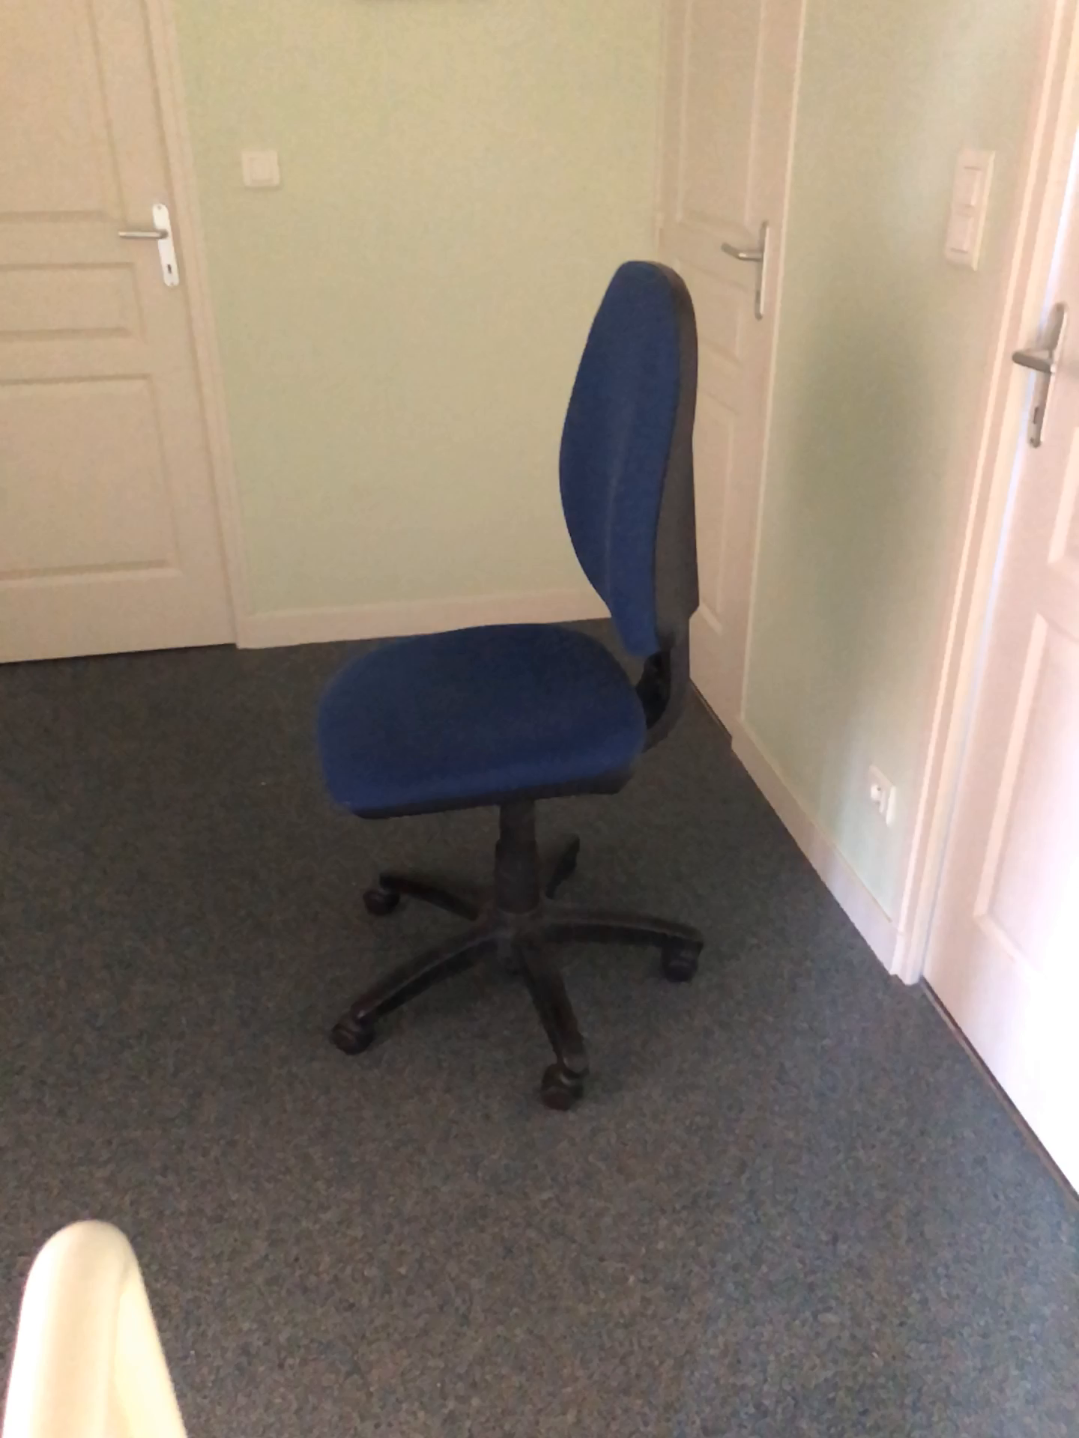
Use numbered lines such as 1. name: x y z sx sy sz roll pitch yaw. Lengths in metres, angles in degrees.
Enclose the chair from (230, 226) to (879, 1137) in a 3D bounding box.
1. chair: -0.029 -0.094 1.759 0.671 1.113 0.704 -5 28 -9
